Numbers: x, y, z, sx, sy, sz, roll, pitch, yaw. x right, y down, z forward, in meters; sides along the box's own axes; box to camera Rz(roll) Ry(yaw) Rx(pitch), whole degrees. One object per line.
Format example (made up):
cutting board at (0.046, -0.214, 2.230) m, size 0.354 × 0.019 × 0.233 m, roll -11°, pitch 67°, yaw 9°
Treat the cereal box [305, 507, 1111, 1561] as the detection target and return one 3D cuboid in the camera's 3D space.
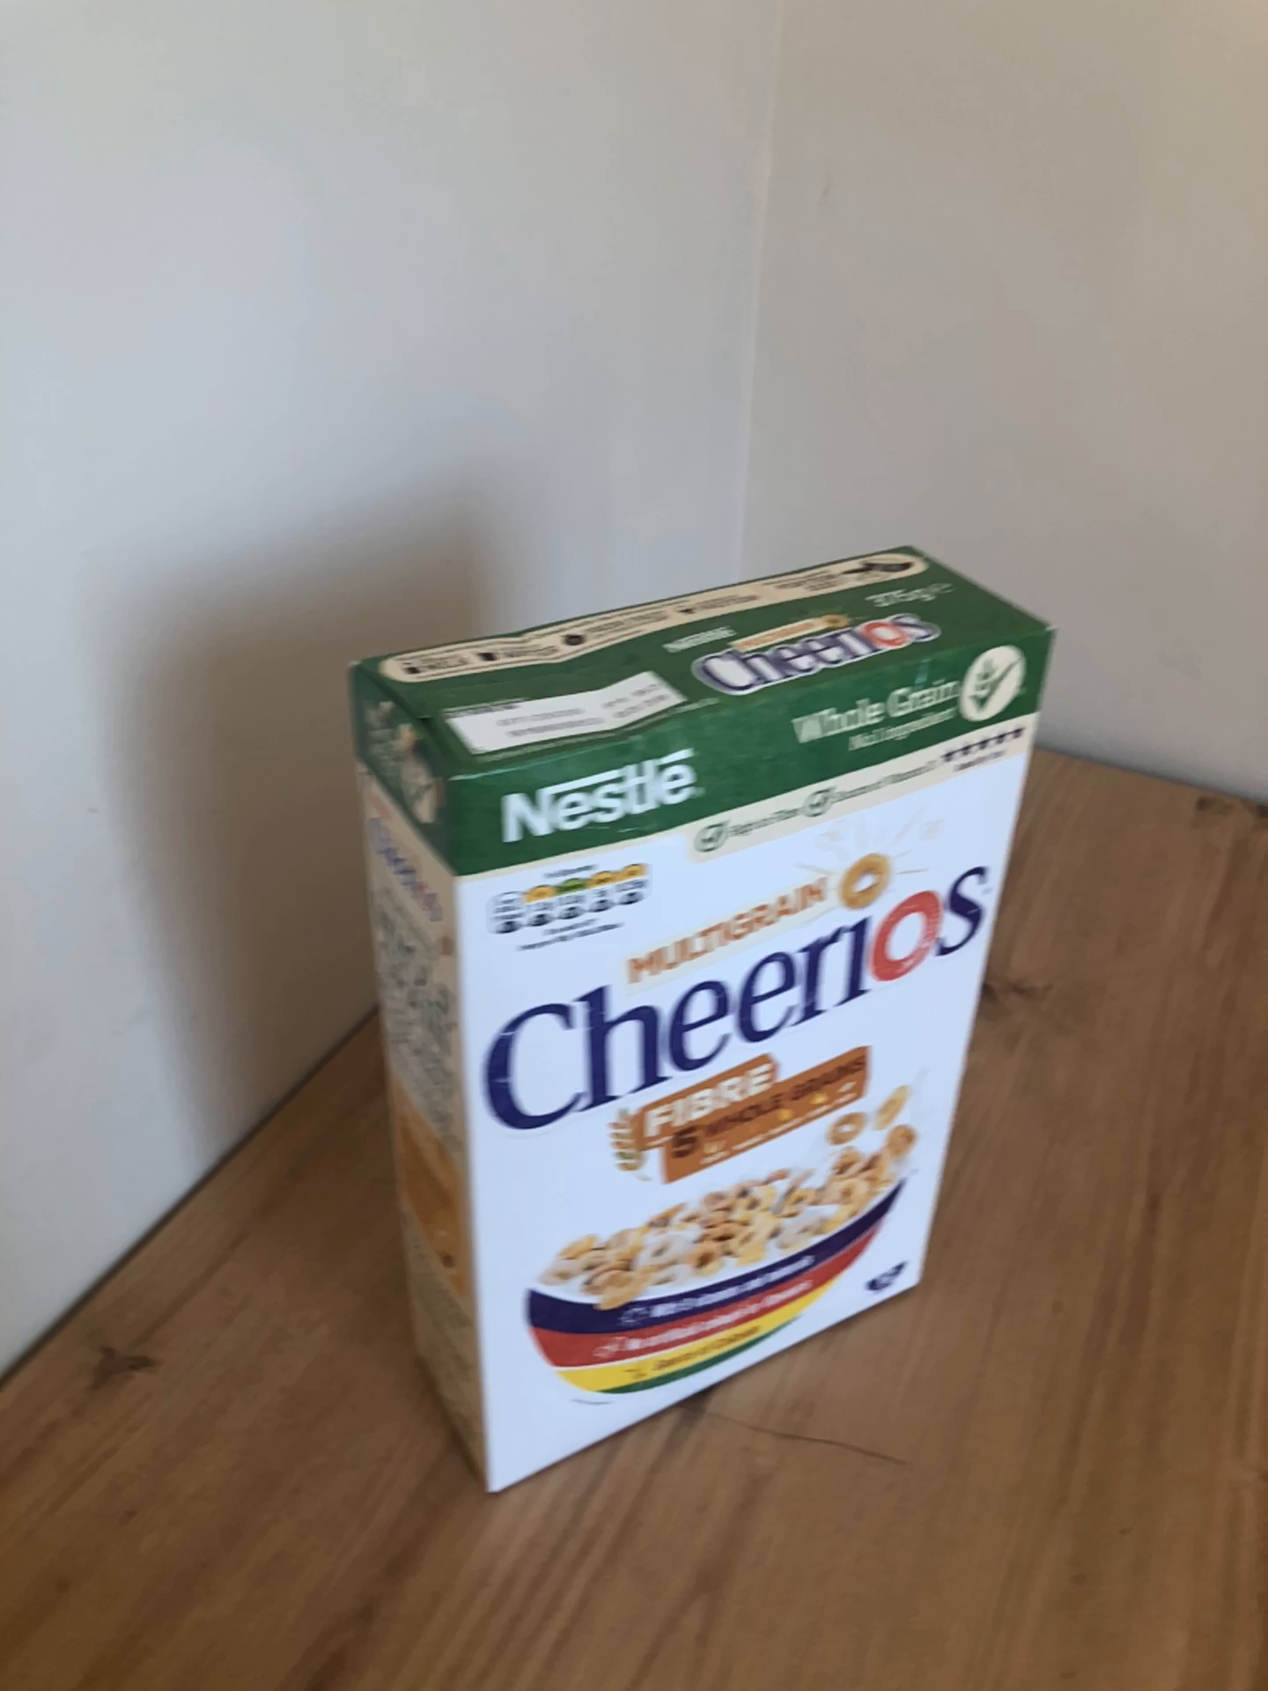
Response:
cereal box at (0.021, 0.066, 0.468) m, size 0.210 × 0.308 × 0.080 m, roll -17°, pitch 37°, yaw -26°
